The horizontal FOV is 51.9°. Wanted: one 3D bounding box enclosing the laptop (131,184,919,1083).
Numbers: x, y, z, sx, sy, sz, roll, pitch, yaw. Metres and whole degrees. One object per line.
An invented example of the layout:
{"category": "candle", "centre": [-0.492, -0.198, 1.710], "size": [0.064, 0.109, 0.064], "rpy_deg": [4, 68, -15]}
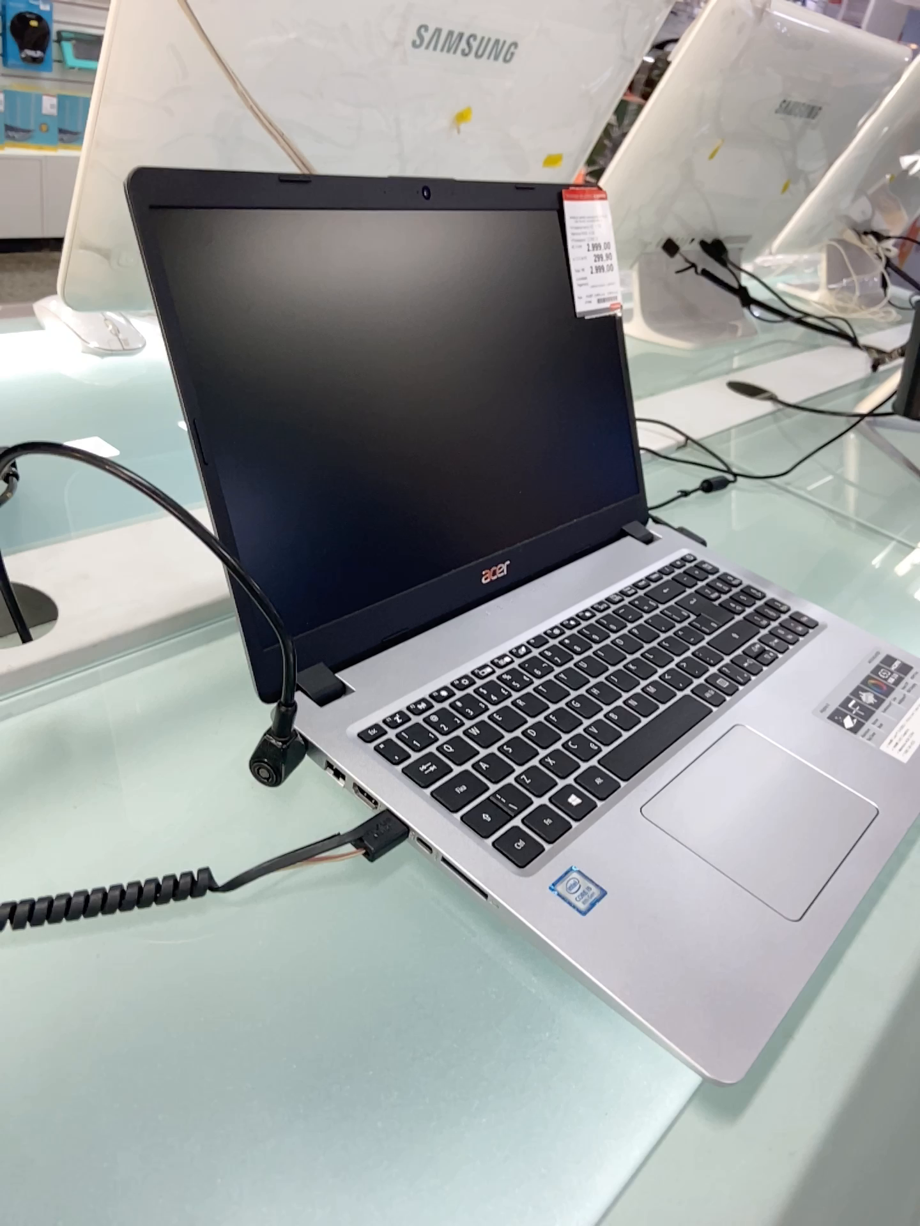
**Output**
{"category": "laptop", "centre": [0.096, -0.064, 0.491], "size": [0.364, 0.204, 0.367], "rpy_deg": [33, 36, 29]}
